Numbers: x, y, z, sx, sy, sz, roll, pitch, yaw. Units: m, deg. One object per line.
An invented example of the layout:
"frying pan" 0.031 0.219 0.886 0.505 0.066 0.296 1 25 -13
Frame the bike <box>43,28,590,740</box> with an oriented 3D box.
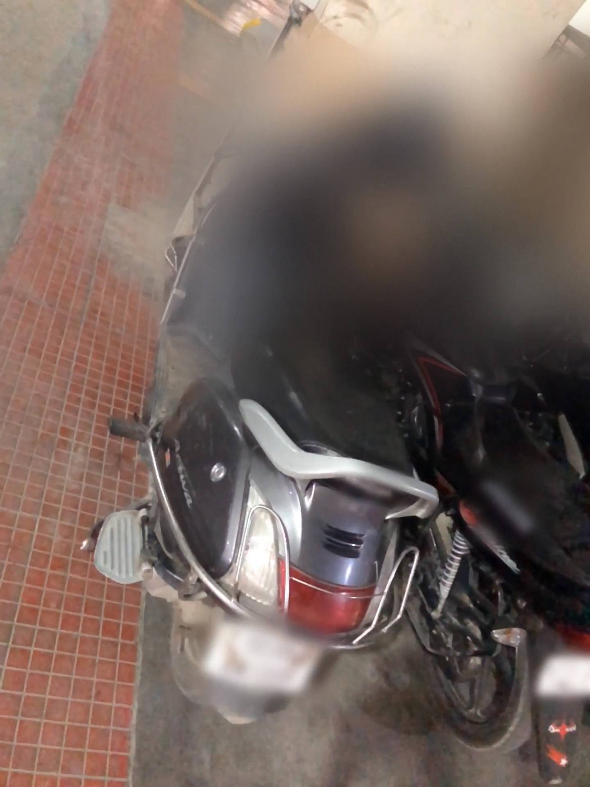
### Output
"bike" -0.170 -0.104 1.670 0.596 0.989 1.498 17 35 -30
